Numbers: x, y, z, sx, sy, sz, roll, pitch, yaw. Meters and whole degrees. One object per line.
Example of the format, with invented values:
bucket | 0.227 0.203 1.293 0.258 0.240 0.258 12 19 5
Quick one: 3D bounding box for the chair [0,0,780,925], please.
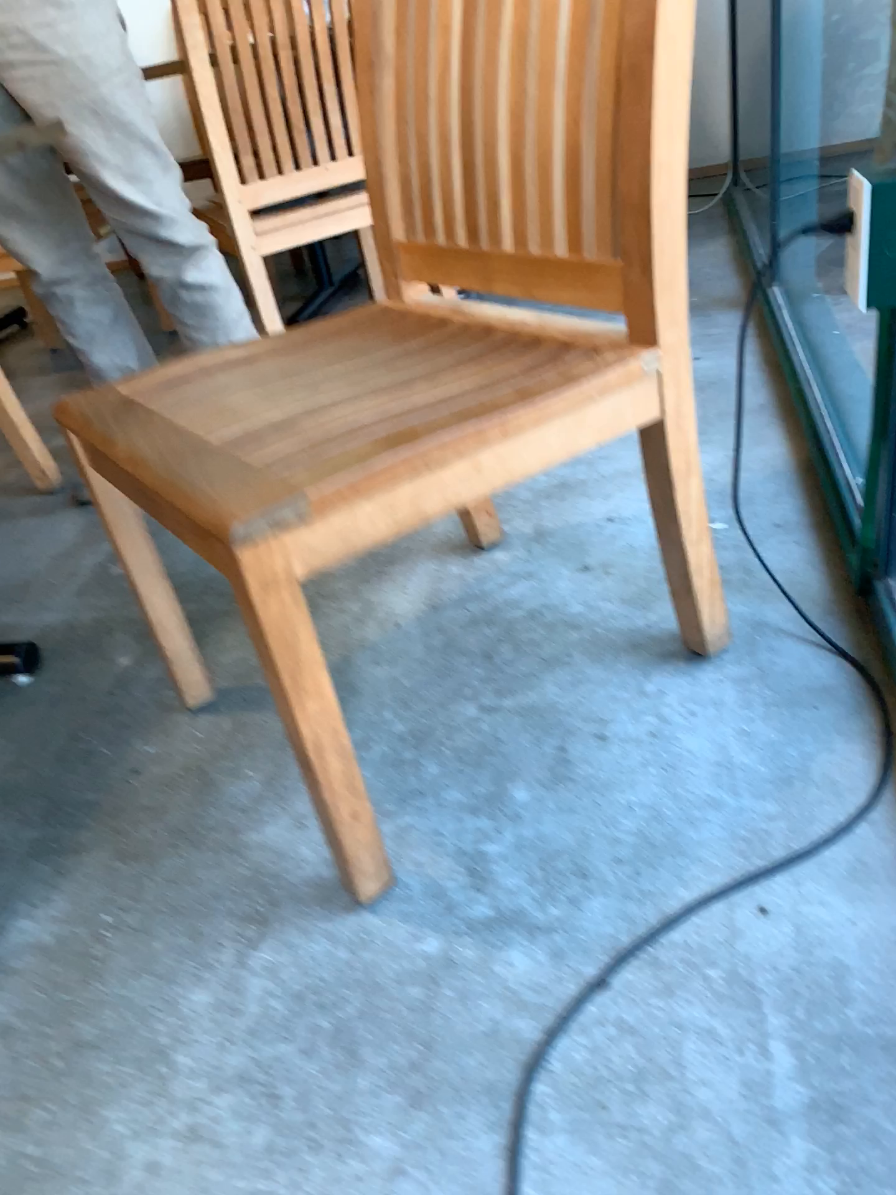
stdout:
chair | -0.086 -0.306 0.931 0.610 0.913 0.534 -28 35 -25
